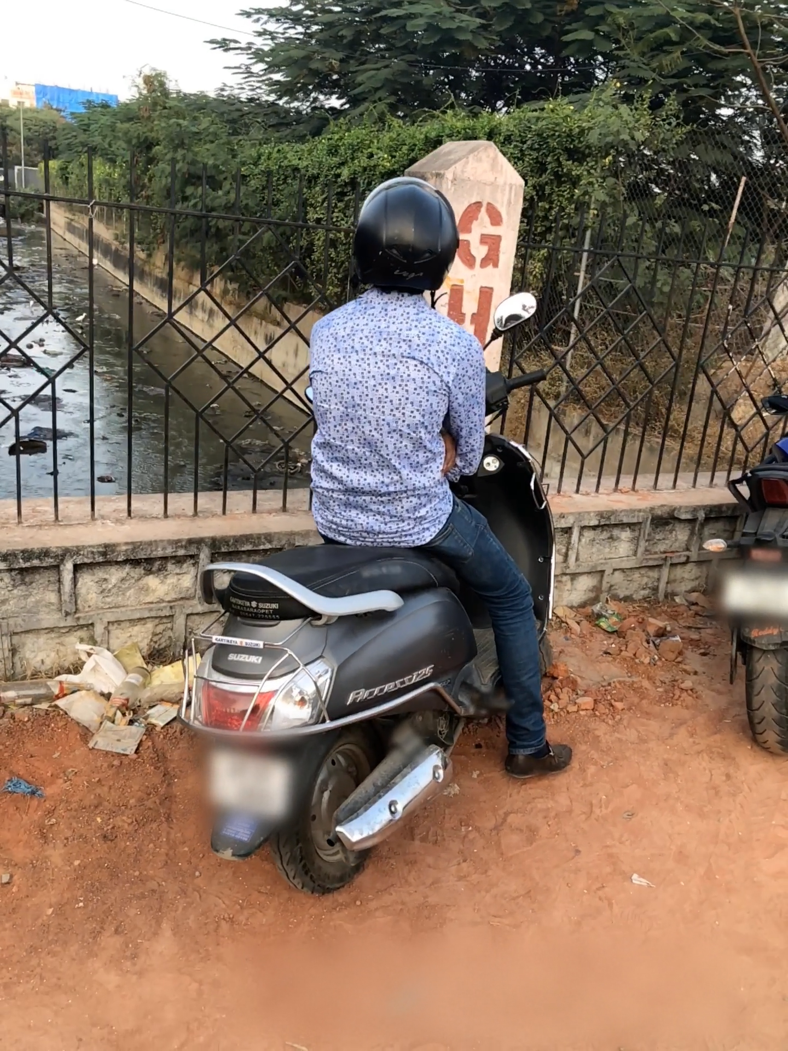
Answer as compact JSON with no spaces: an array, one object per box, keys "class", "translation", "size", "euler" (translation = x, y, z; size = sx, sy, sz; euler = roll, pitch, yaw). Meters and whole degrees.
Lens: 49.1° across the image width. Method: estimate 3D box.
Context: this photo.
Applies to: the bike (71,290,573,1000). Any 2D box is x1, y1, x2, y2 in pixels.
[{"class":"bike","translation":[-0.076,0.094,2.476],"size":[0.797,1.217,1.586],"euler":[11,22,14]}]
